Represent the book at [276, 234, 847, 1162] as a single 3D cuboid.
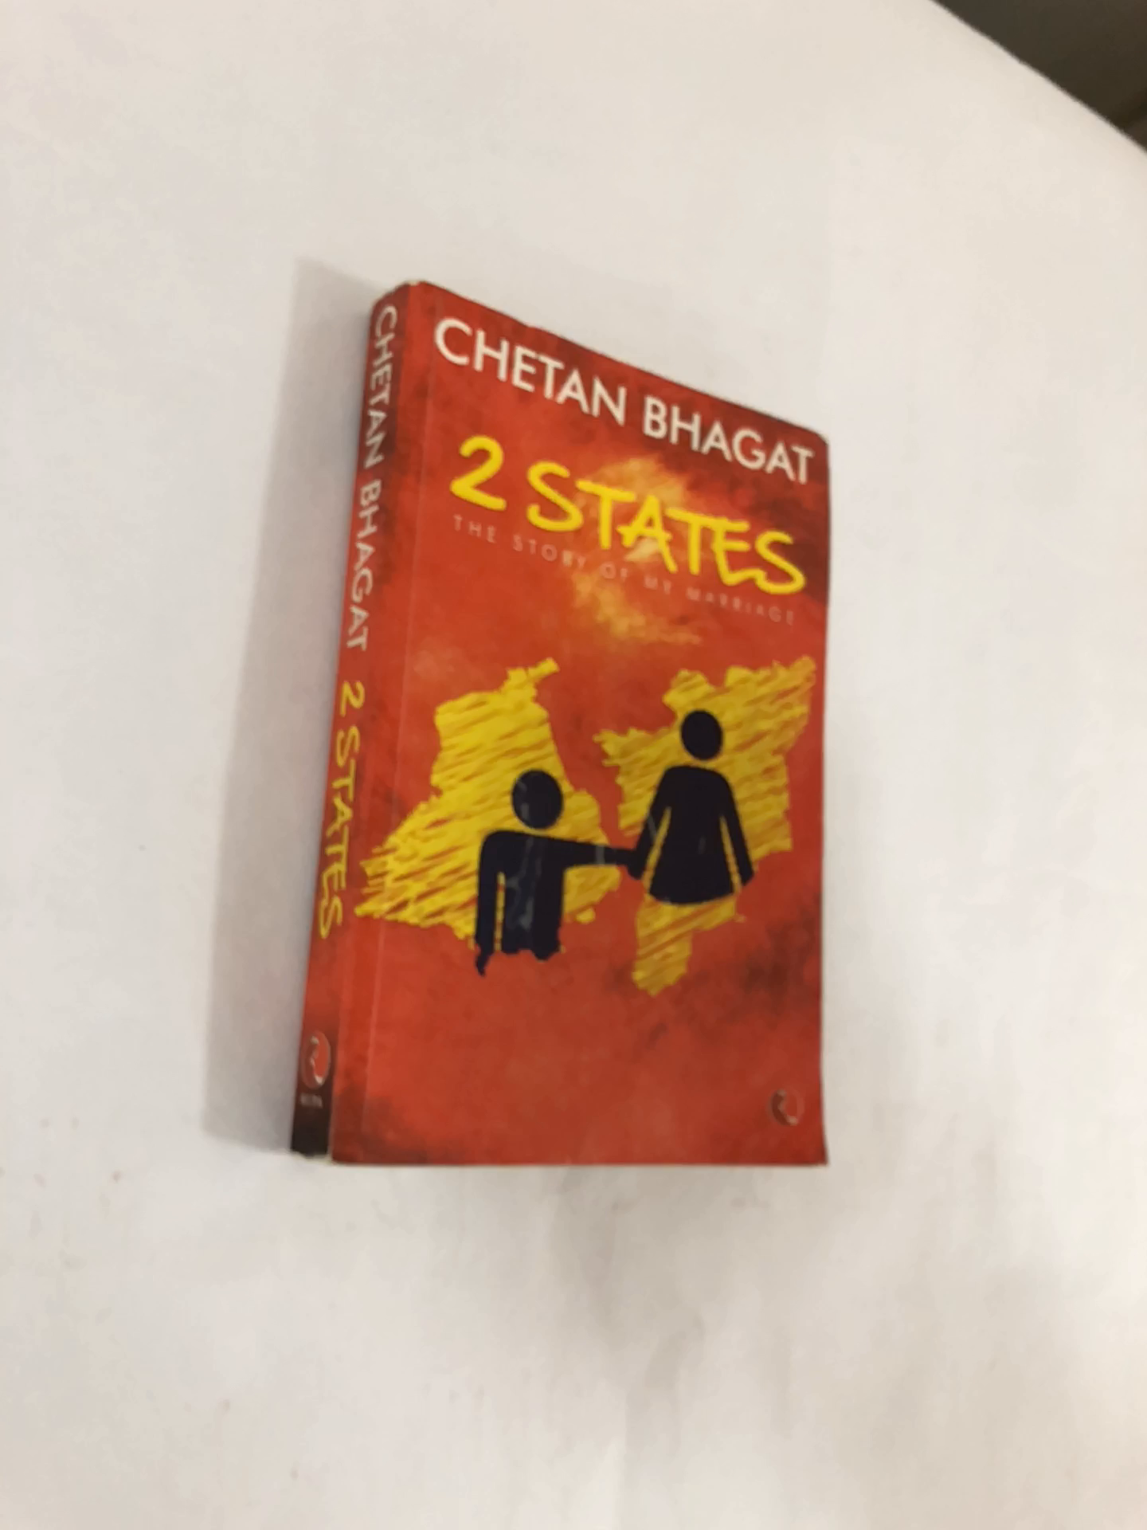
[{"bbox_3d":[0.005,-0.007,0.305,0.123,0.040,0.190,11,75,-33],"label":"book"}]
